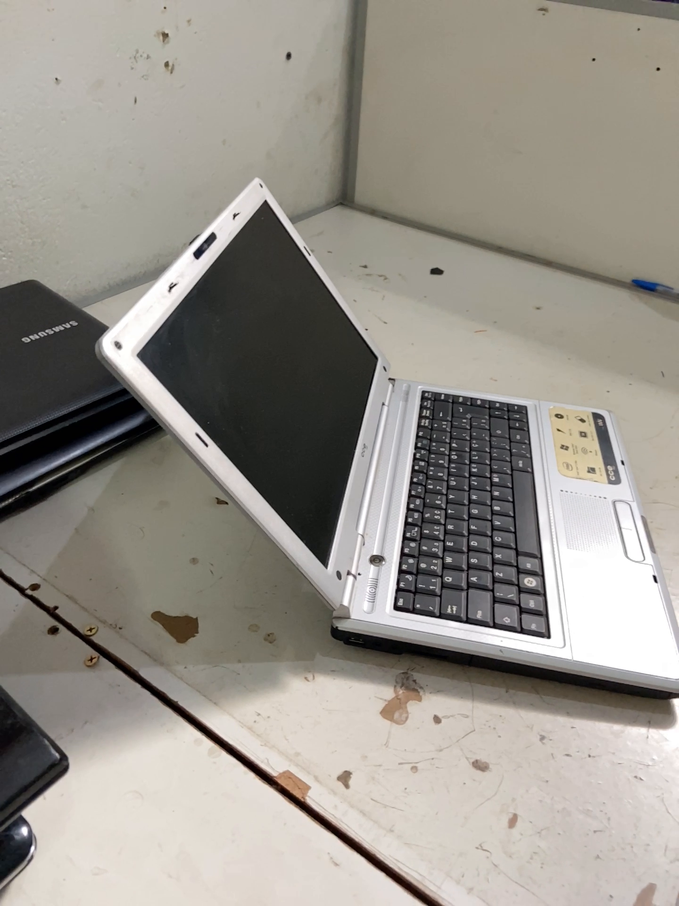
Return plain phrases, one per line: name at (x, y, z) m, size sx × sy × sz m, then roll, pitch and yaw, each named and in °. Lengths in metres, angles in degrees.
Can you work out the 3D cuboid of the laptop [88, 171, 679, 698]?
laptop at (0.078, -0.050, 0.547) m, size 0.387 × 0.190 × 0.340 m, roll 10°, pitch 37°, yaw 5°
